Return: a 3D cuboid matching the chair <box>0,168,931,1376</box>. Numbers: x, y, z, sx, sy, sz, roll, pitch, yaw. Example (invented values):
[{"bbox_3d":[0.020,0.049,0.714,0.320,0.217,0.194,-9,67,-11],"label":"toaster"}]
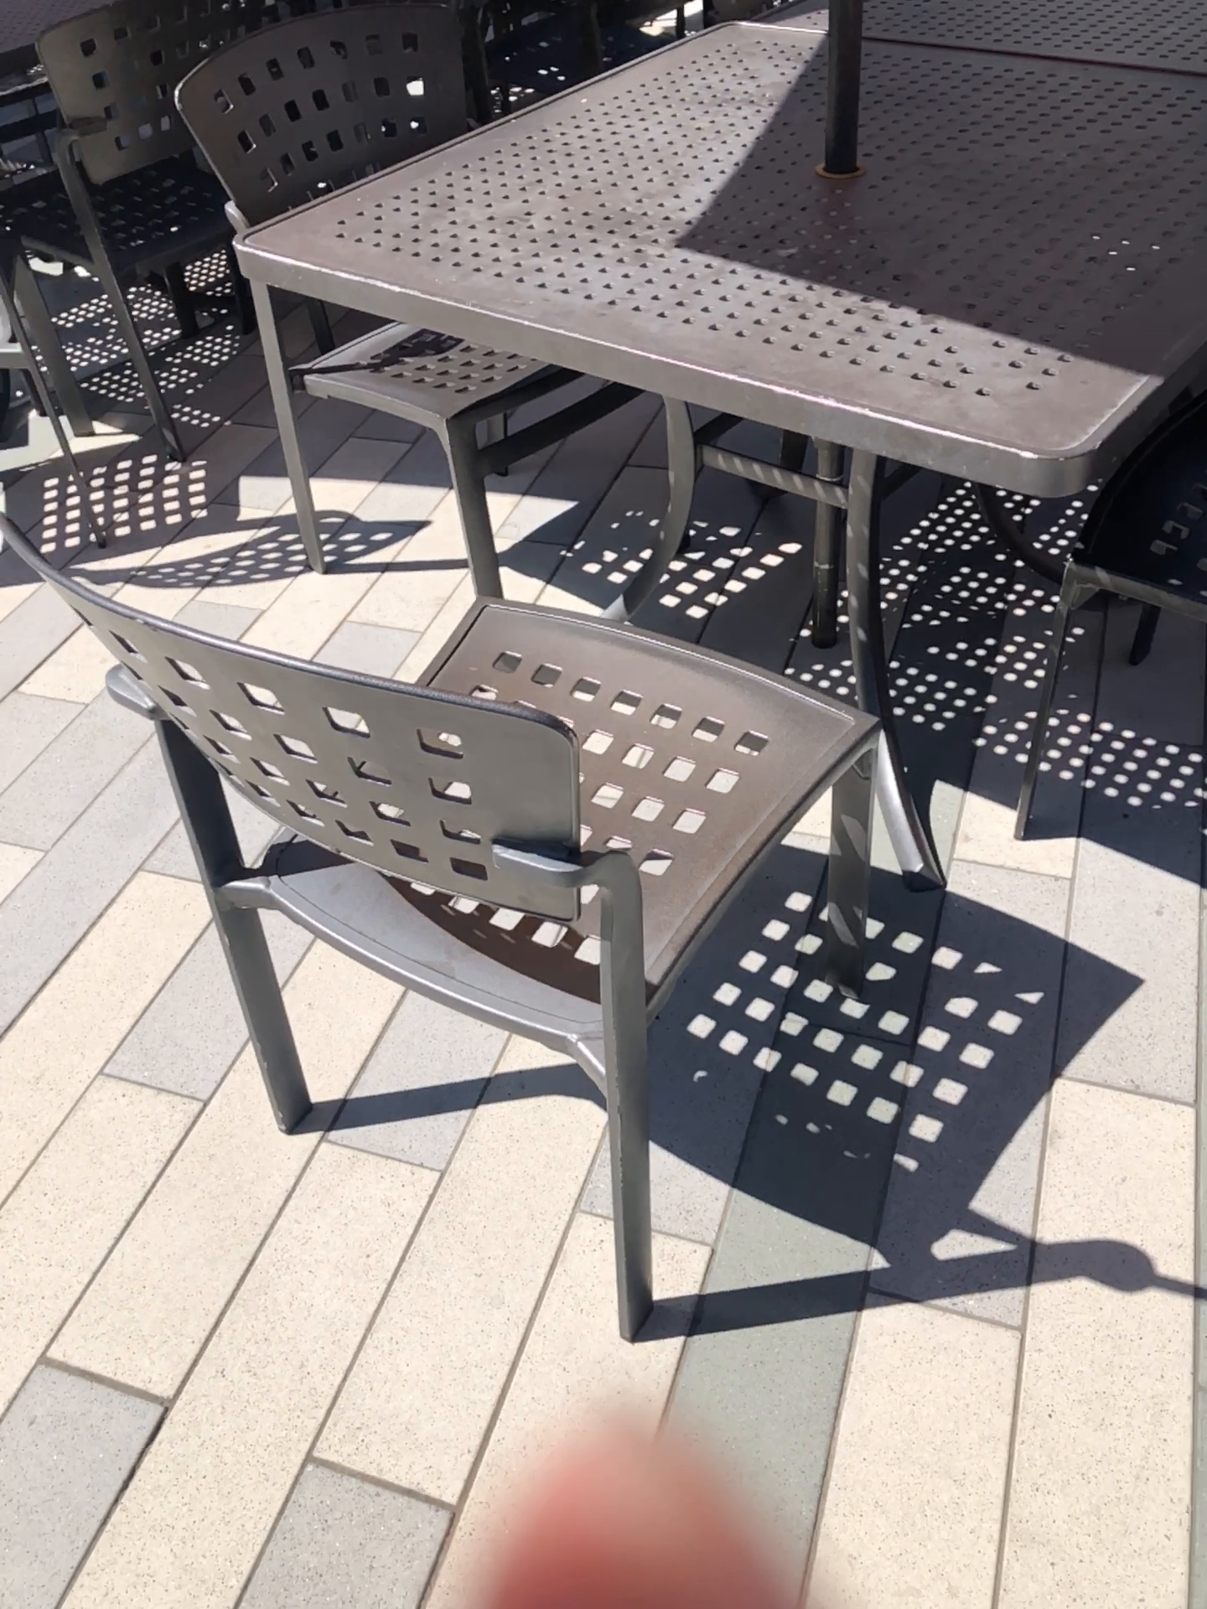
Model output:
[{"bbox_3d":[-0.091,-0.025,1.137,0.521,0.756,0.531,20,52,26],"label":"chair"}]
